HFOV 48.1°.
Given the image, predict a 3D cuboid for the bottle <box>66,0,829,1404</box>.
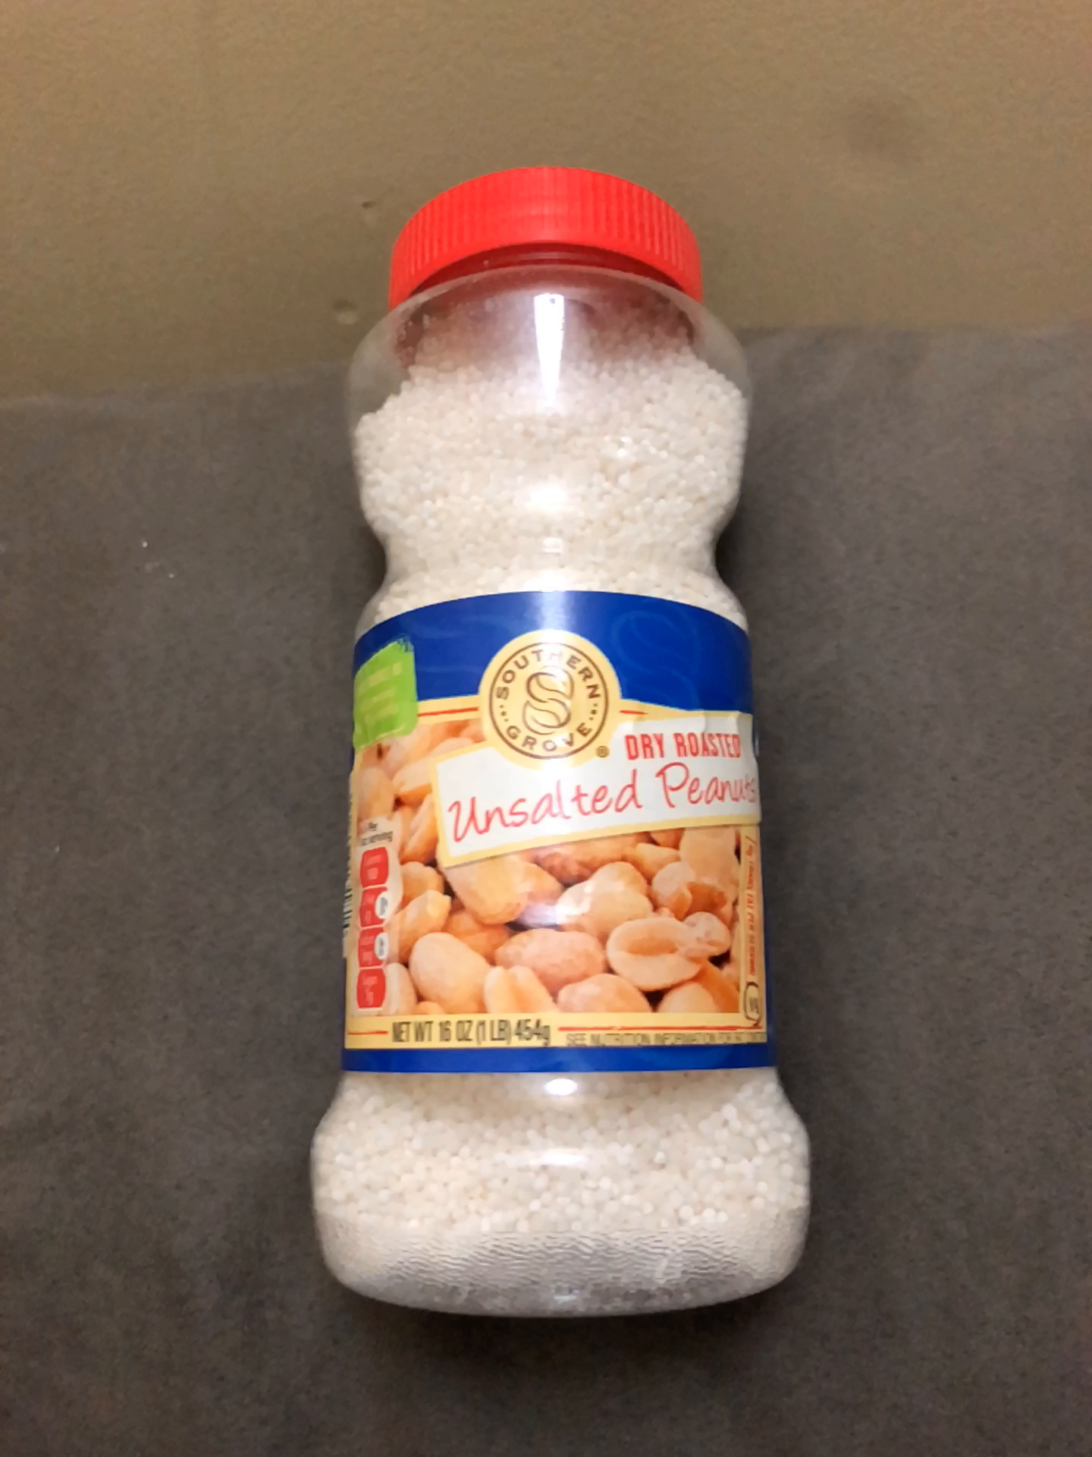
[{"bbox_3d":[-0.004,-0.015,0.221,0.095,0.090,0.220,-3,73,11],"label":"bottle"}]
